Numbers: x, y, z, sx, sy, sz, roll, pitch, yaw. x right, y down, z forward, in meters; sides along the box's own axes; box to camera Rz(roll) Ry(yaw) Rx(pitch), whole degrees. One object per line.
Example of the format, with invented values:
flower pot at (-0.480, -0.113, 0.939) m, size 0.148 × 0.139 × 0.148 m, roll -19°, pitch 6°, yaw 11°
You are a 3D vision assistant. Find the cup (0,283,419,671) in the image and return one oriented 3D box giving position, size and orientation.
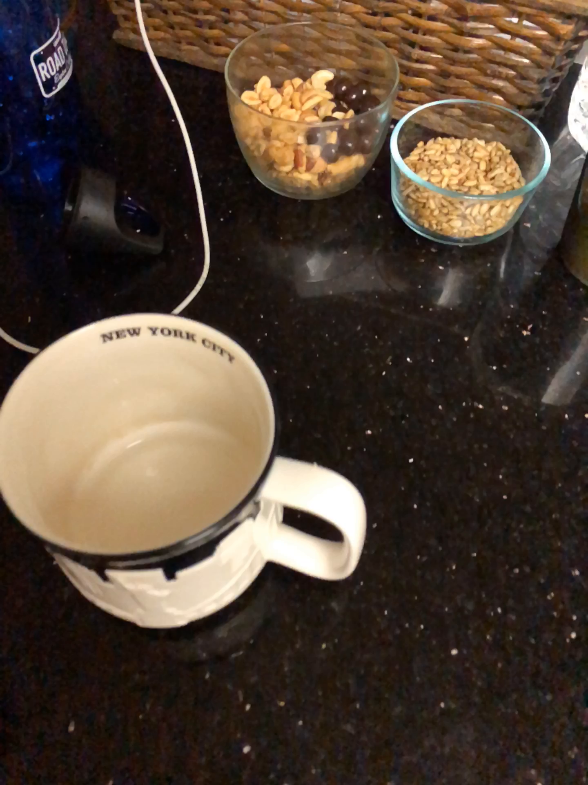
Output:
cup at (-0.035, 0.036, 0.276) m, size 0.150 × 0.090 × 0.110 m, roll 10°, pitch 58°, yaw 6°
